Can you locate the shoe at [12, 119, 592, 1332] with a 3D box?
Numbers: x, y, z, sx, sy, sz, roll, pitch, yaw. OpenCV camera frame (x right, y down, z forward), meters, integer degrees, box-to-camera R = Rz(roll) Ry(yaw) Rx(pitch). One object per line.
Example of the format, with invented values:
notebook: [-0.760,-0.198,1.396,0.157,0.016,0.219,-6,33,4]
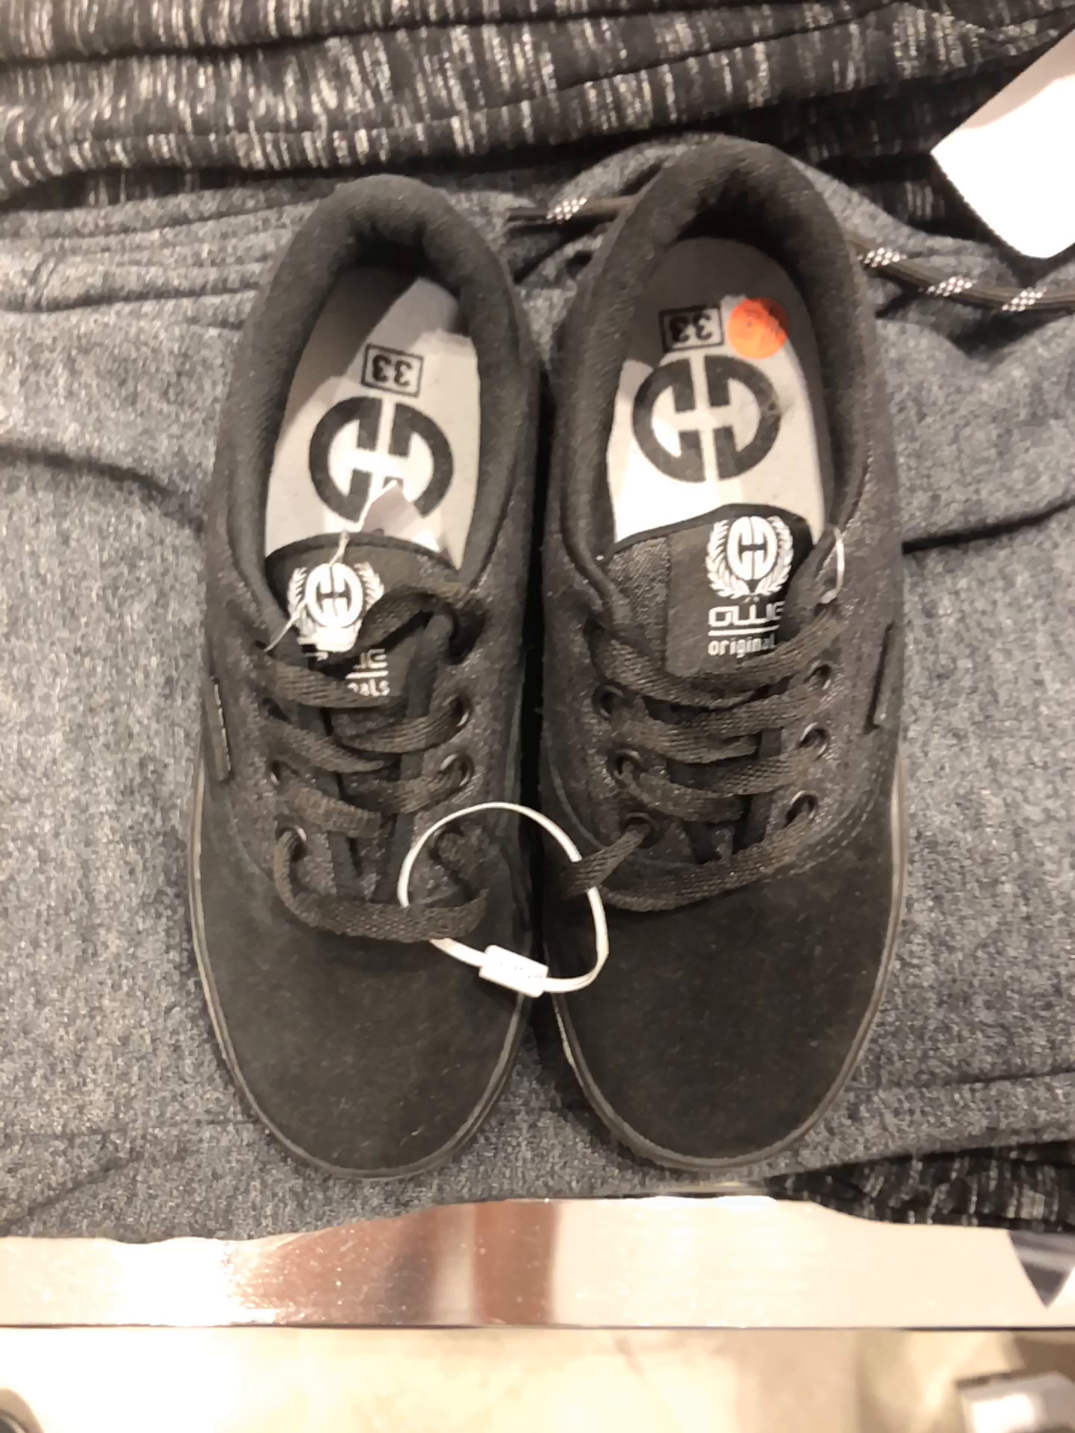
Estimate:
shoe: [-0.043,0.001,0.263,0.090,0.080,0.220,4,85,-3]

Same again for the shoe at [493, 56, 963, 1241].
shoe: [0.036,-0.015,0.285,0.090,0.080,0.240,0,86,-4]
